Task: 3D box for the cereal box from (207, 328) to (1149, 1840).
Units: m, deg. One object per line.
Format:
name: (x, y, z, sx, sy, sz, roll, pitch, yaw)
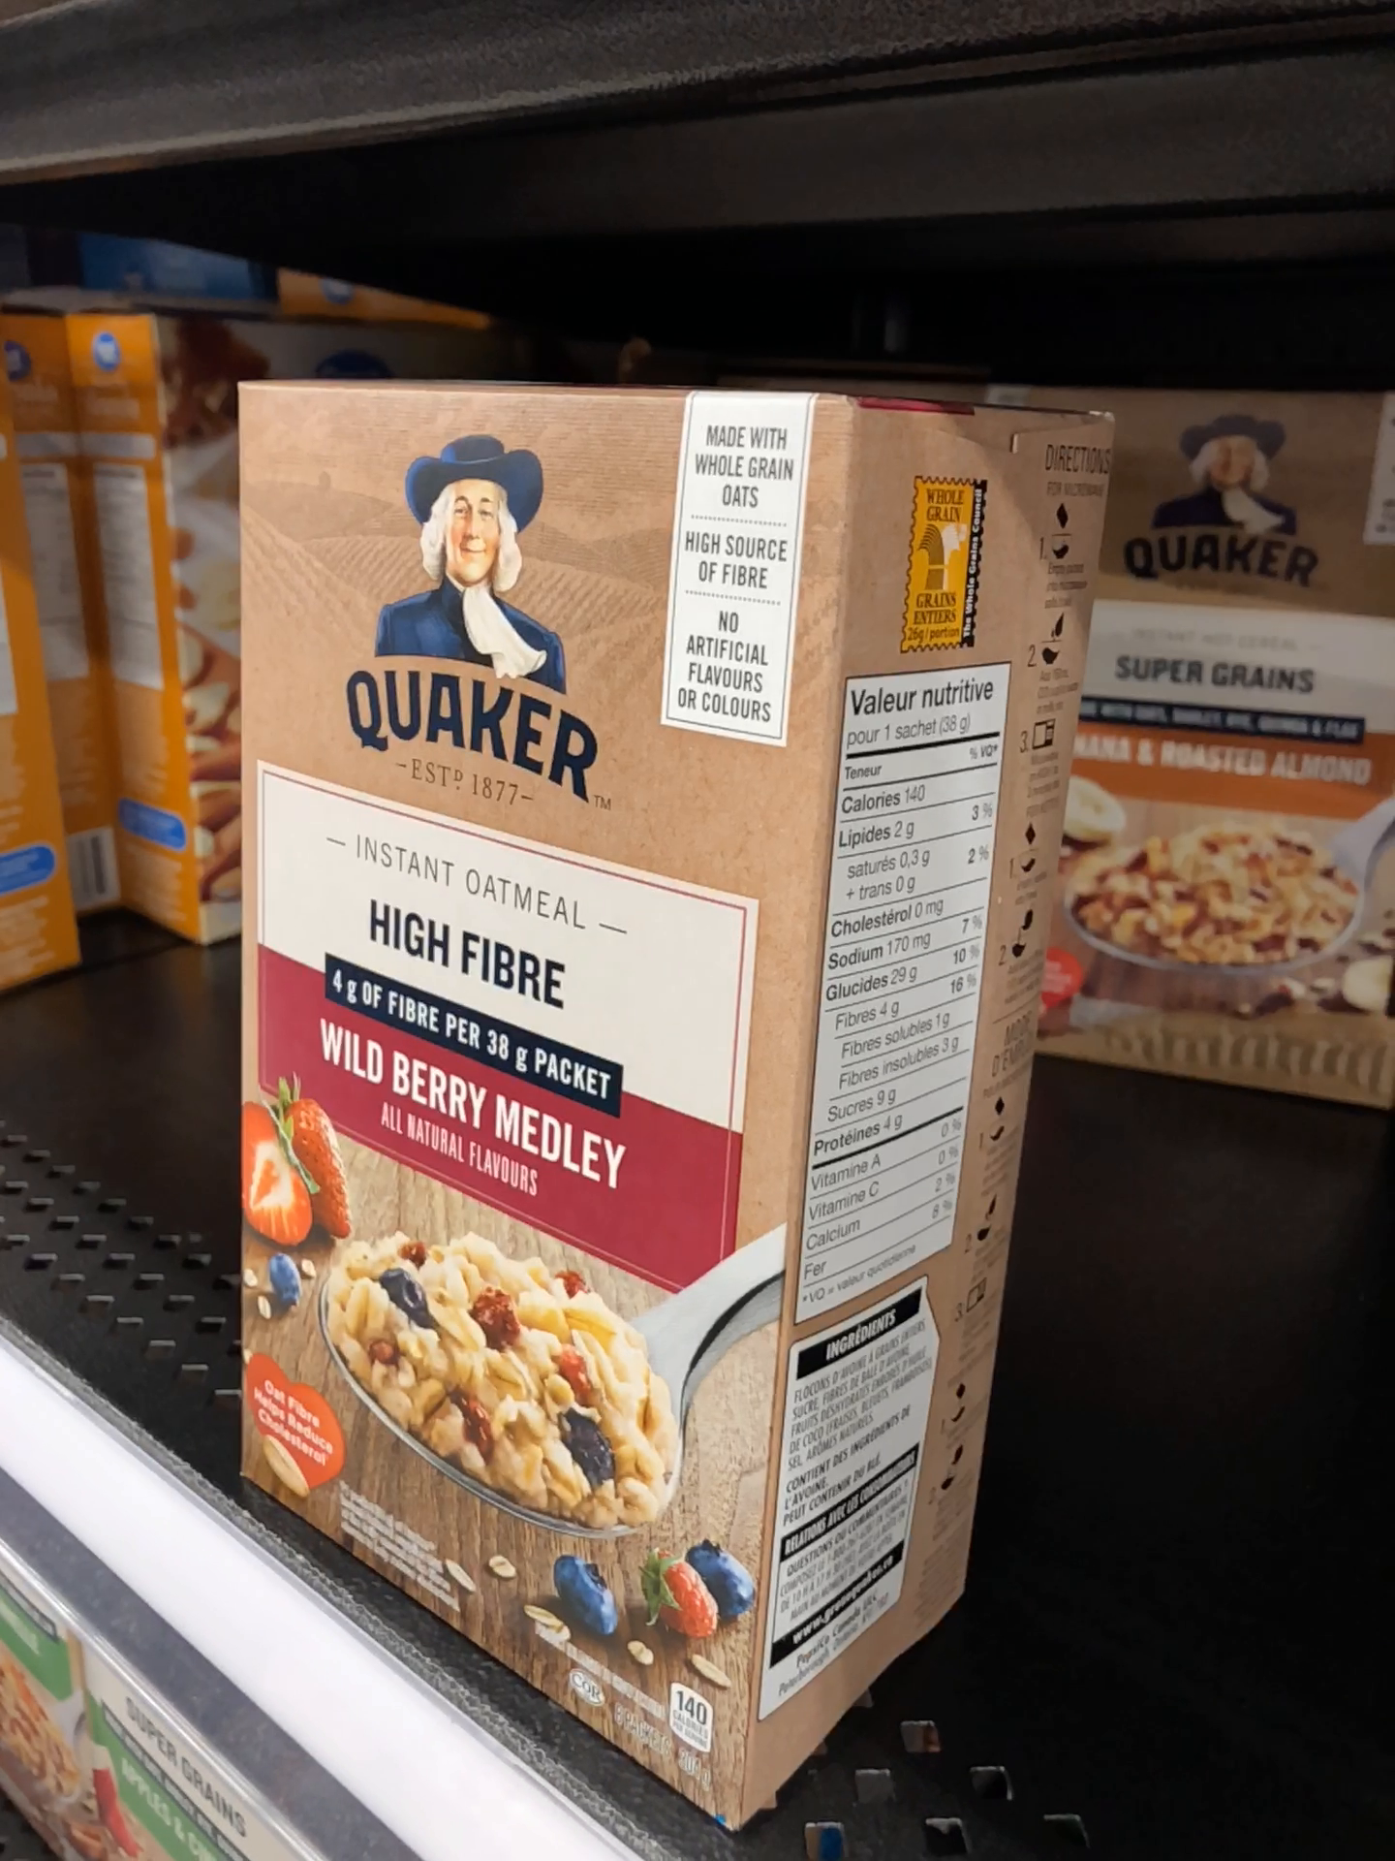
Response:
cereal box: (-0.014, 0.012, 0.253, 0.130, 0.199, 0.060, 16, 20, 37)
